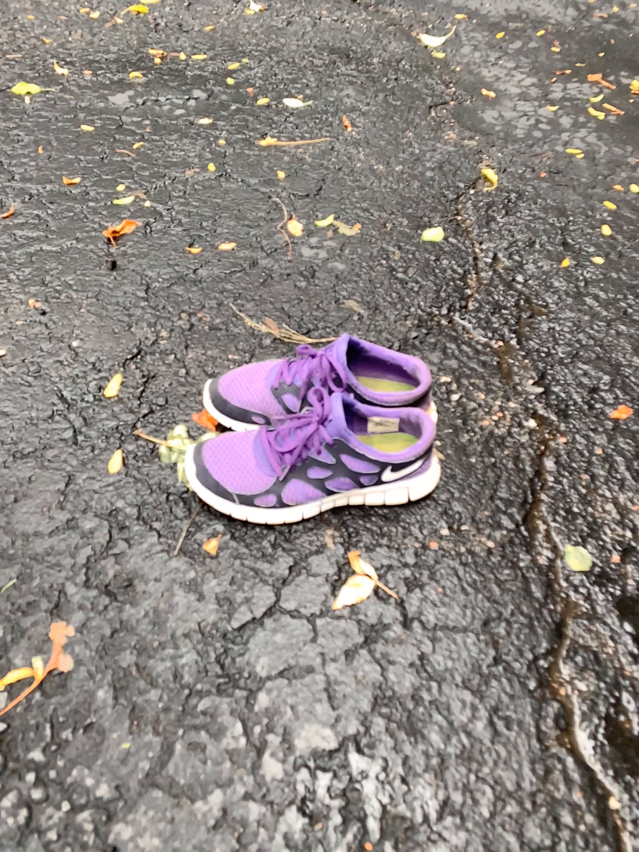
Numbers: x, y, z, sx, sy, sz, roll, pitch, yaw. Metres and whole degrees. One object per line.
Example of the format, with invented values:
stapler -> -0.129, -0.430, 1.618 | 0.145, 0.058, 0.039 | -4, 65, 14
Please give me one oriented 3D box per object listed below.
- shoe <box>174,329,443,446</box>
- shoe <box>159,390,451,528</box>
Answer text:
shoe -> -0.011, -0.047, 0.788 | 0.300, 0.090, 0.110 | 0, 52, 1
shoe -> -0.012, 0.039, 0.732 | 0.300, 0.100, 0.110 | -2, 52, 4
